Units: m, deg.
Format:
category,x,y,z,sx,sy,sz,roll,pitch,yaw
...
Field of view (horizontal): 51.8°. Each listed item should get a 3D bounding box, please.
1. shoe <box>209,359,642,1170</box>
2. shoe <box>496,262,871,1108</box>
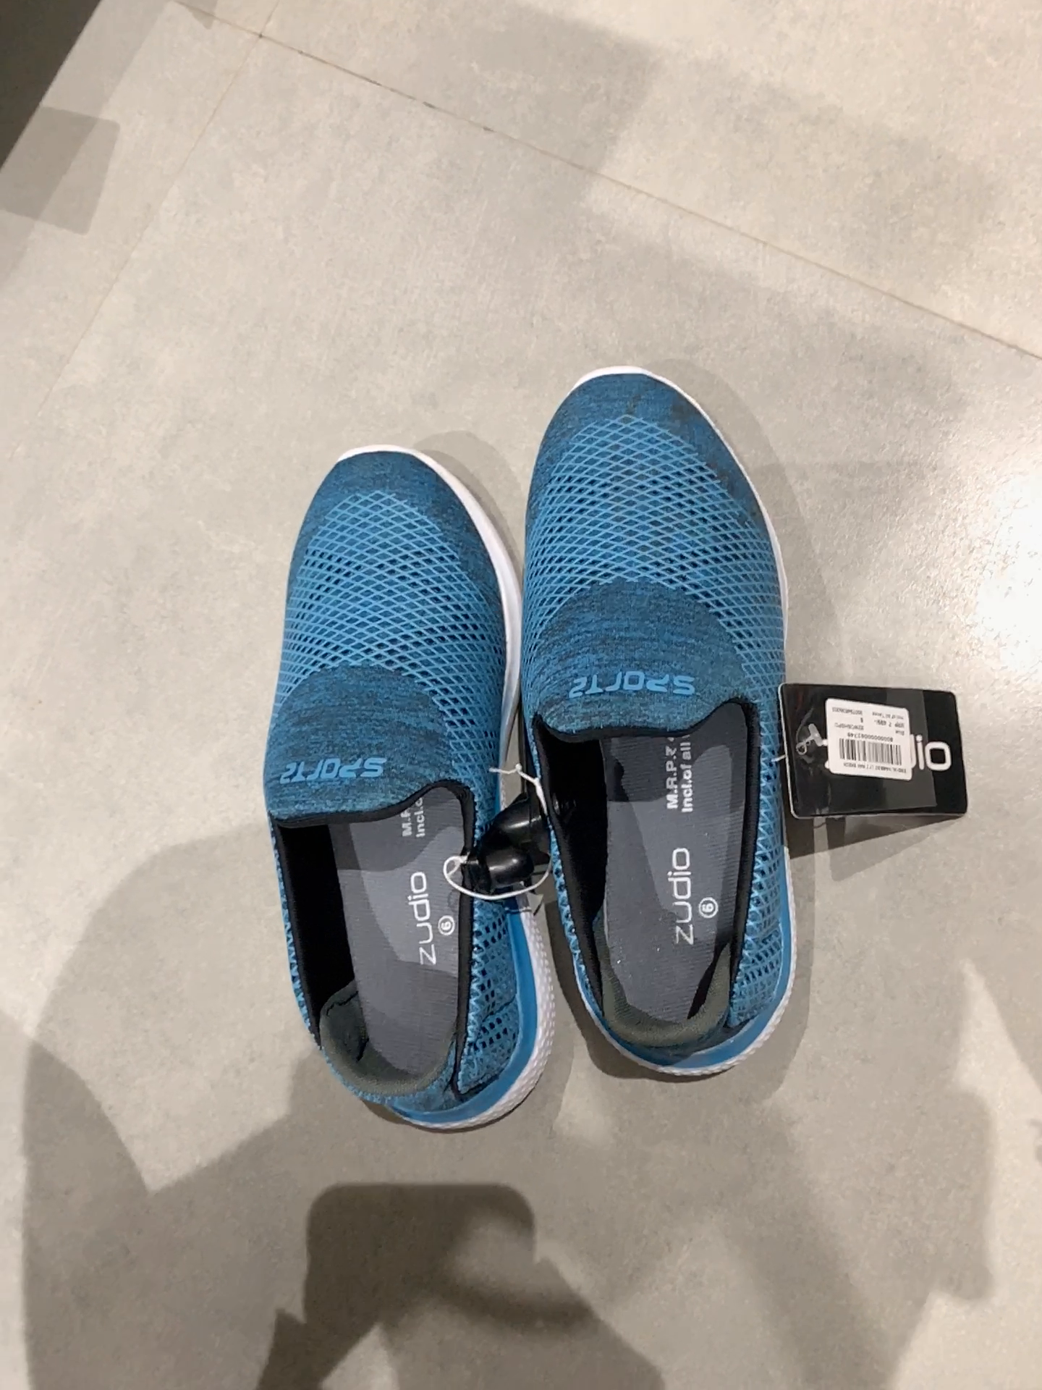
category,x,y,z,sx,sy,sz,roll,pitch,yaw
shoe,-0.035,0.025,0.401,0.110,0.080,0.260,-11,79,14
shoe,0.054,-0.001,0.362,0.090,0.080,0.250,-7,80,15
